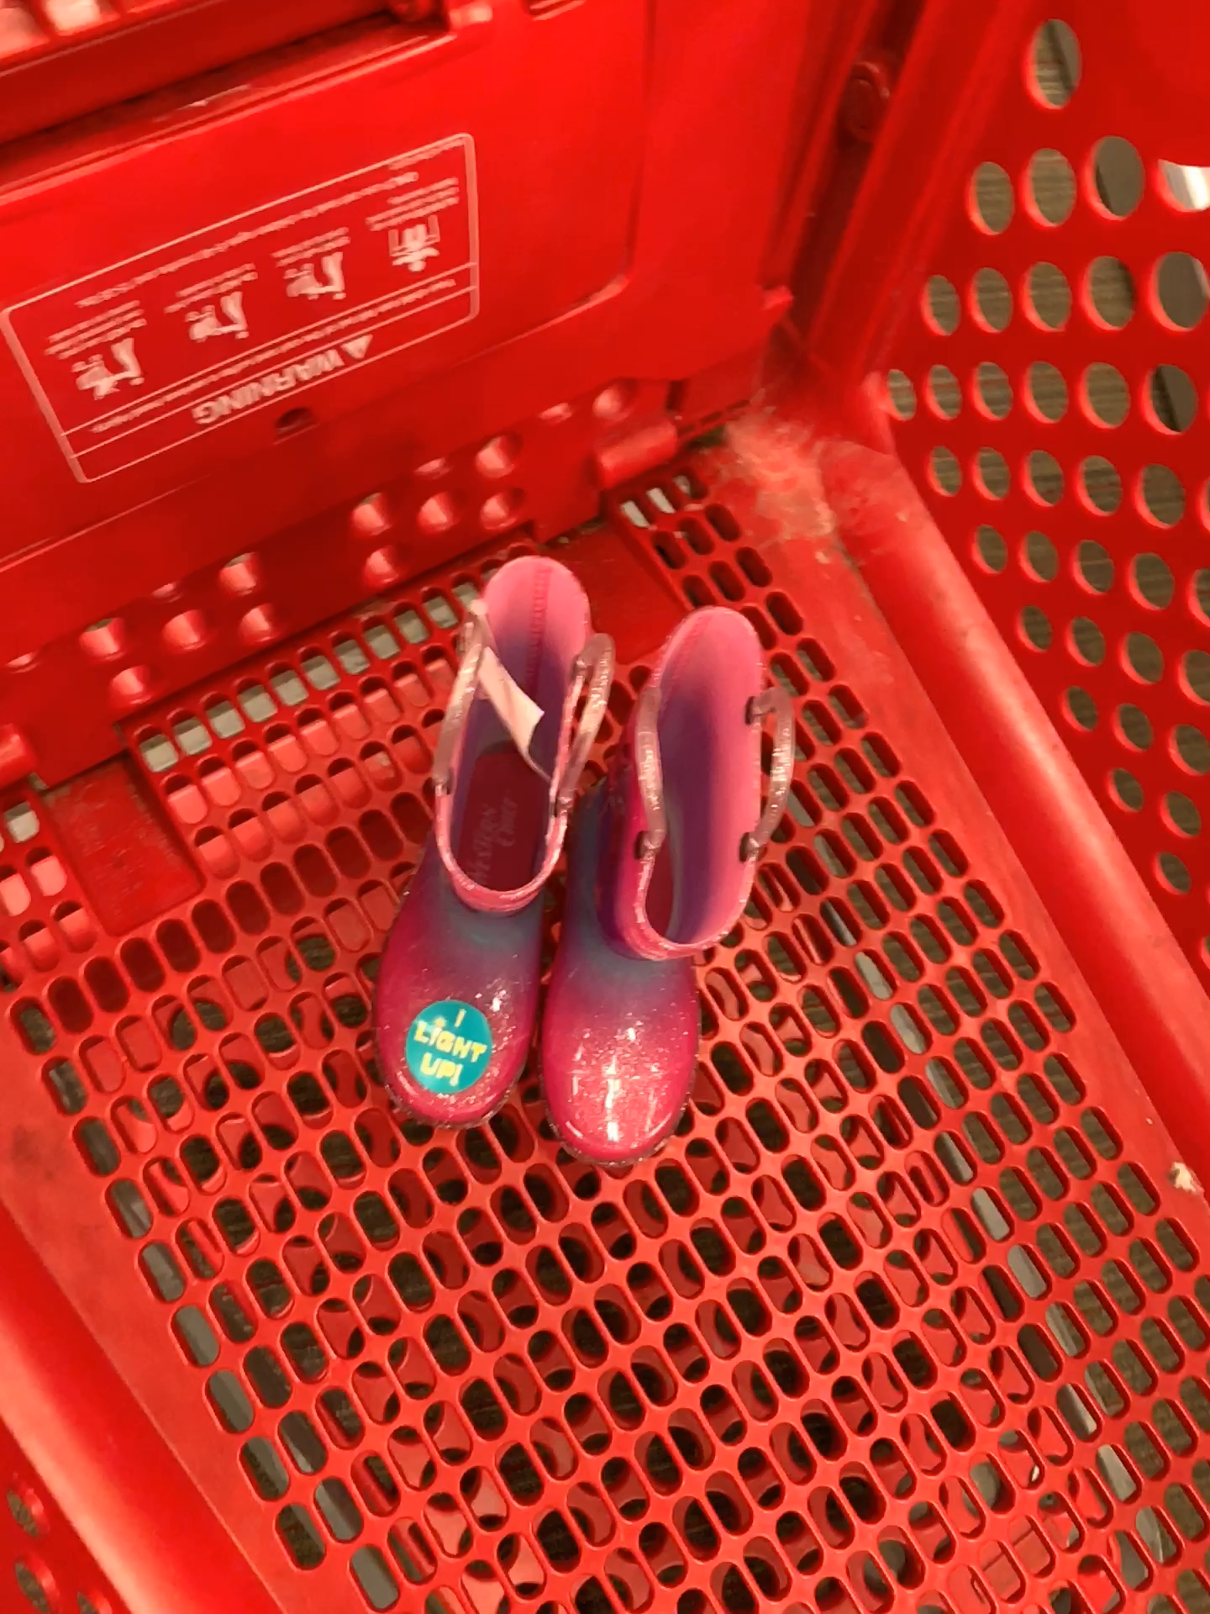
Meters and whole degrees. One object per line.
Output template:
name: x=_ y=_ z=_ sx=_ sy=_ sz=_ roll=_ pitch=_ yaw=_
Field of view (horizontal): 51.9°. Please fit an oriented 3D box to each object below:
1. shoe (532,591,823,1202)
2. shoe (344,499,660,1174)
shoe: x=0.022 y=0.040 z=0.461 sx=0.070 sy=0.140 sz=0.190 roll=5 pitch=77 yaw=-9
shoe: x=-0.040 y=0.019 z=0.443 sx=0.070 sy=0.140 sz=0.200 roll=9 pitch=76 yaw=-8
